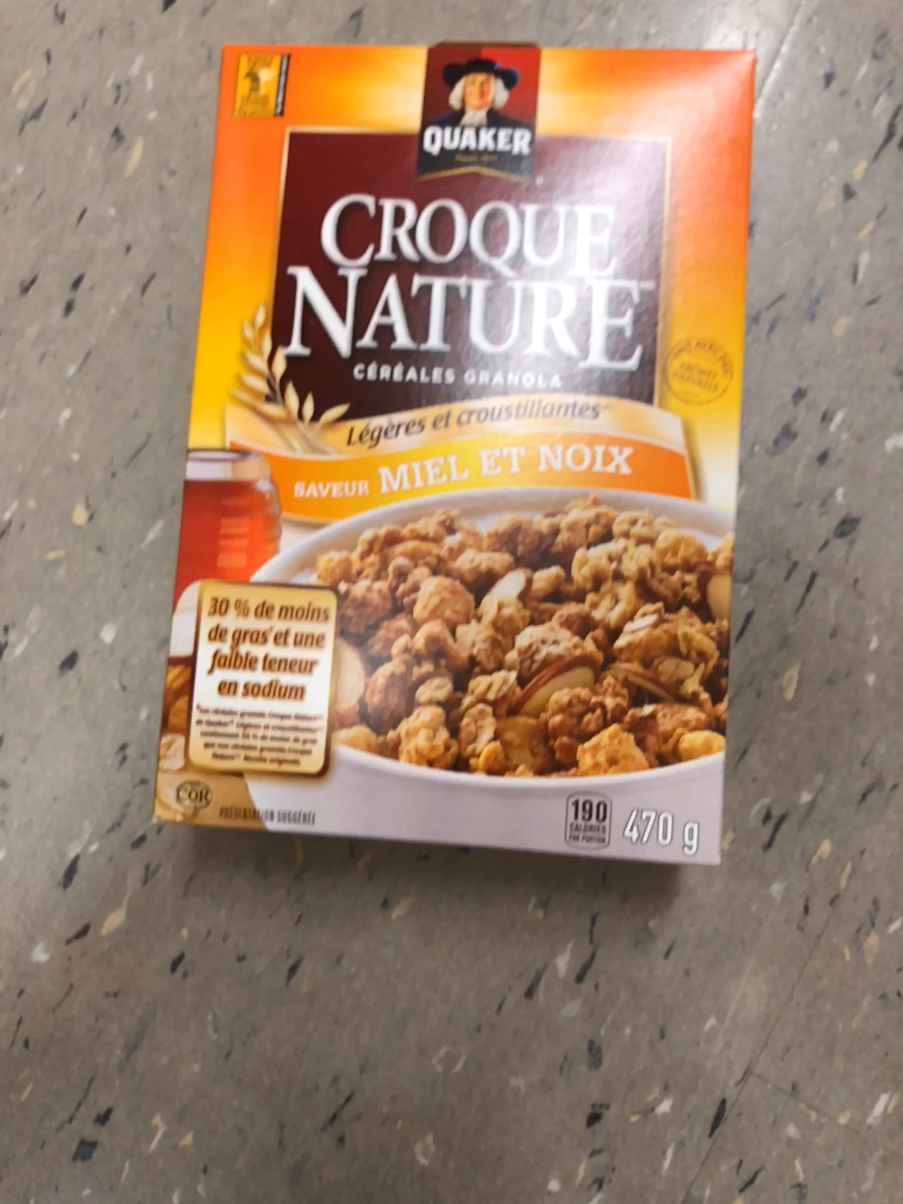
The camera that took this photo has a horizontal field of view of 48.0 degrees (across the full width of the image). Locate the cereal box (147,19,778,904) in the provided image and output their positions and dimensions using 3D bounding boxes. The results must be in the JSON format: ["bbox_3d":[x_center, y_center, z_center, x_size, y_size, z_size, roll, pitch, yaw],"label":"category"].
[{"bbox_3d":[0.005,-0.043,0.305,0.160,0.050,0.240,3,86,5],"label":"cereal box"}]
